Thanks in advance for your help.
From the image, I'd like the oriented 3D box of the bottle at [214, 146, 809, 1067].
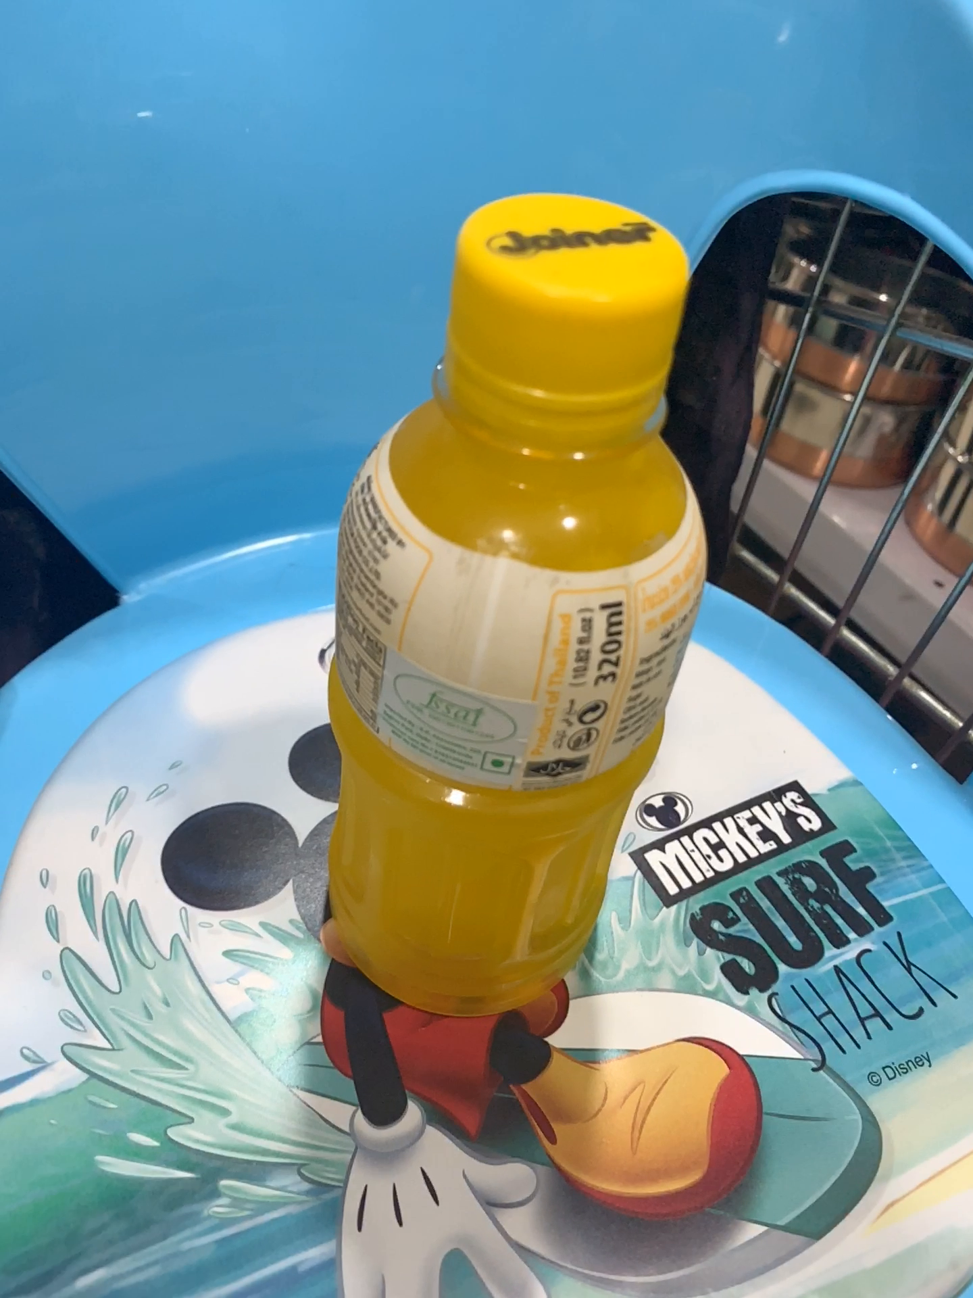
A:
[{"bbox_3d":[0.004,0.003,0.169,0.060,0.139,0.060,2,43,-2],"label":"bottle"}]
